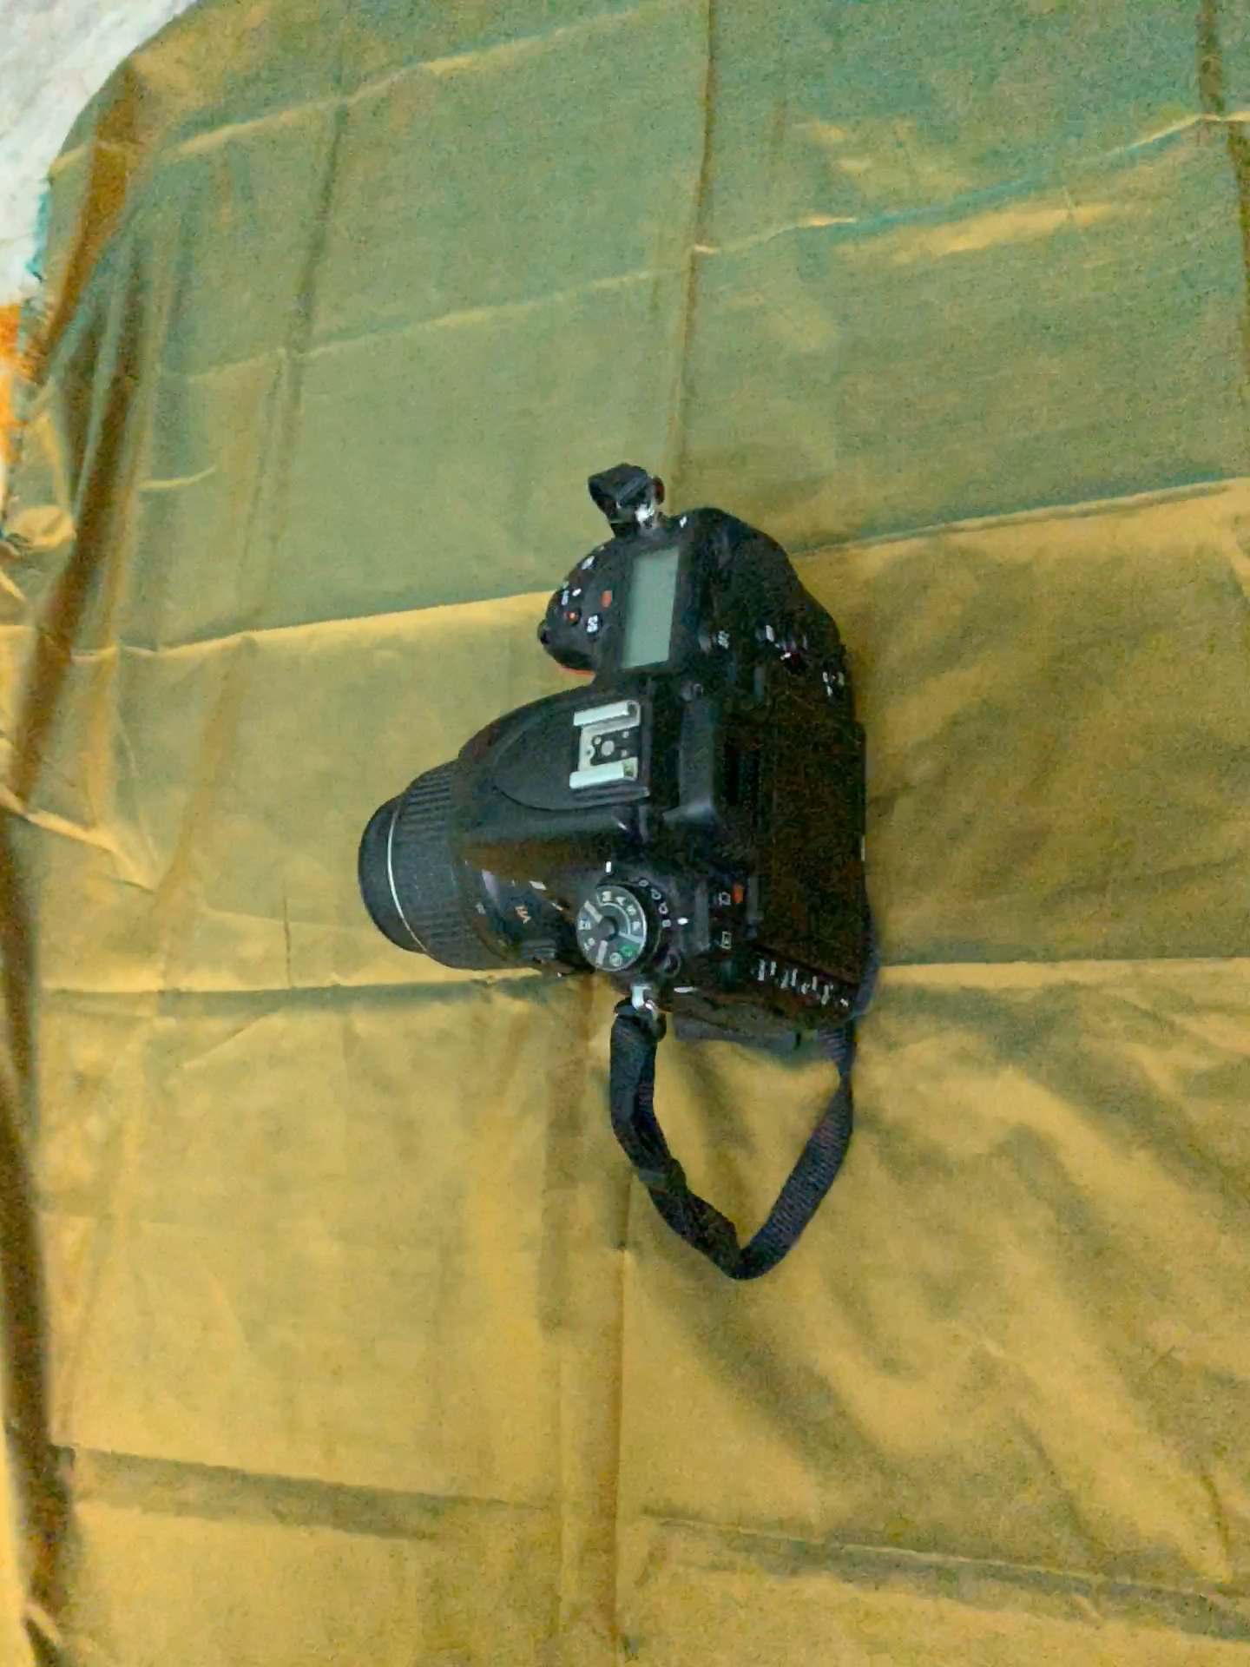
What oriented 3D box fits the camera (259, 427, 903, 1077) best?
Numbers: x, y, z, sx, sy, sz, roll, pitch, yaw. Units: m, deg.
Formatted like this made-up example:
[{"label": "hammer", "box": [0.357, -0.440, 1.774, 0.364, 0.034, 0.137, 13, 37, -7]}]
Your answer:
[{"label": "camera", "box": [-0.006, -0.009, 0.378, 0.132, 0.119, 0.135, -10, 65, 36]}]
